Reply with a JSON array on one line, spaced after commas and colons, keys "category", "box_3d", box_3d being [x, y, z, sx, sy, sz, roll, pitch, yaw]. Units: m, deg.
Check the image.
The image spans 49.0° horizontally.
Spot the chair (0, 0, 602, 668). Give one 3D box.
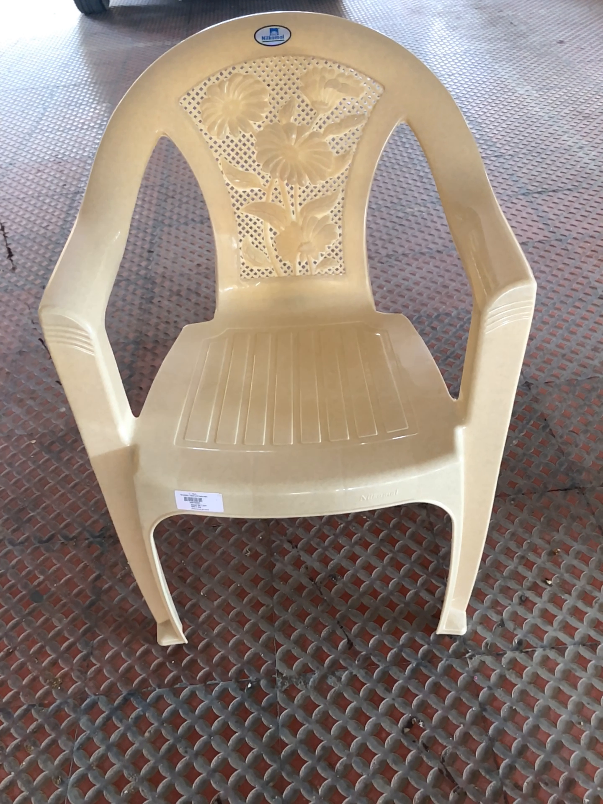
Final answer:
[{"category": "chair", "box_3d": [-0.020, -0.095, 1.009, 0.530, 0.805, 0.614, -3, 42, 1]}]
